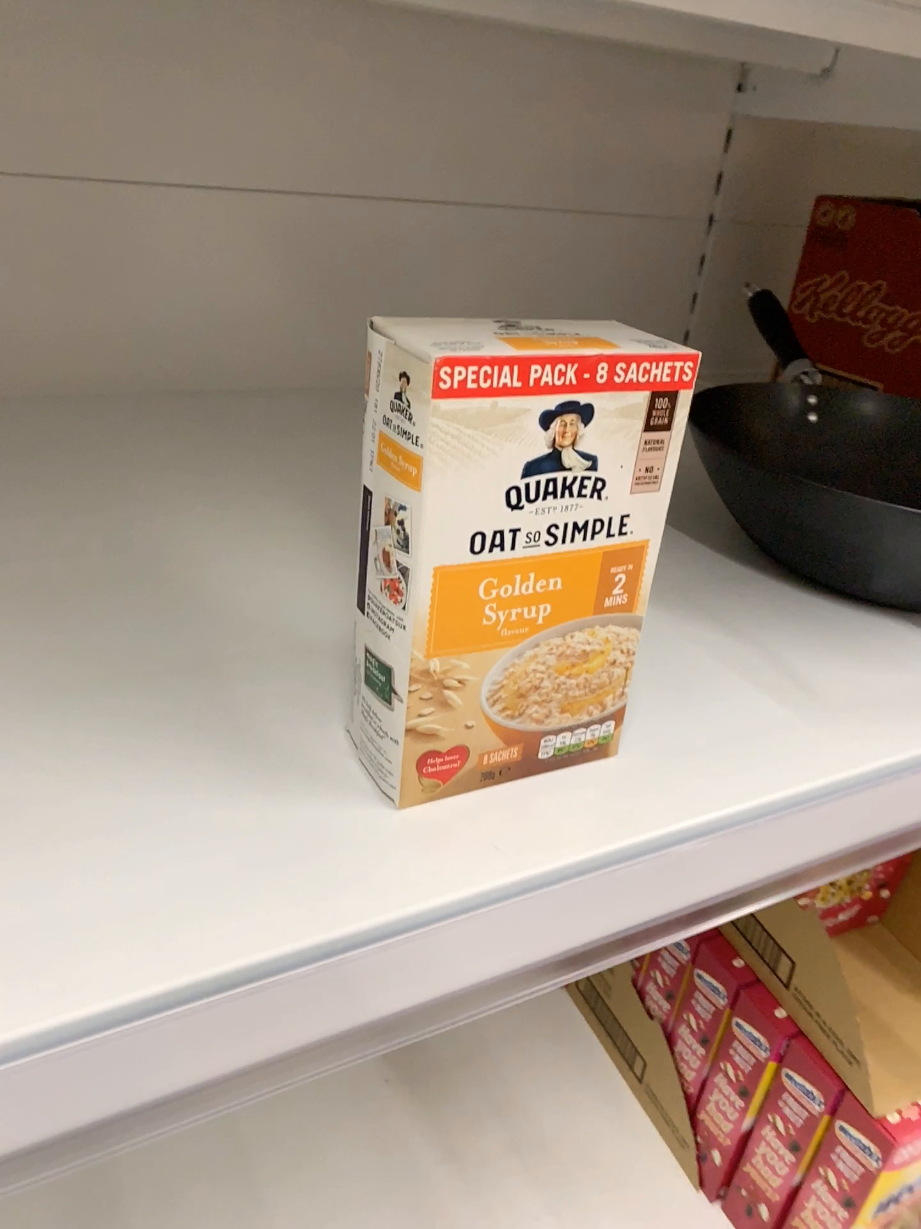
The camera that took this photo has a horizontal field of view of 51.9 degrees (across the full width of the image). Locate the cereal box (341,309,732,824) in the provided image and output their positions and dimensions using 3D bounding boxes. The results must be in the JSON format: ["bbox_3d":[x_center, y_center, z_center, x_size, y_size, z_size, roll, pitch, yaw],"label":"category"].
[{"bbox_3d":[0.027,-0.026,0.437,0.140,0.208,0.070,-9,29,-28],"label":"cereal box"}]
